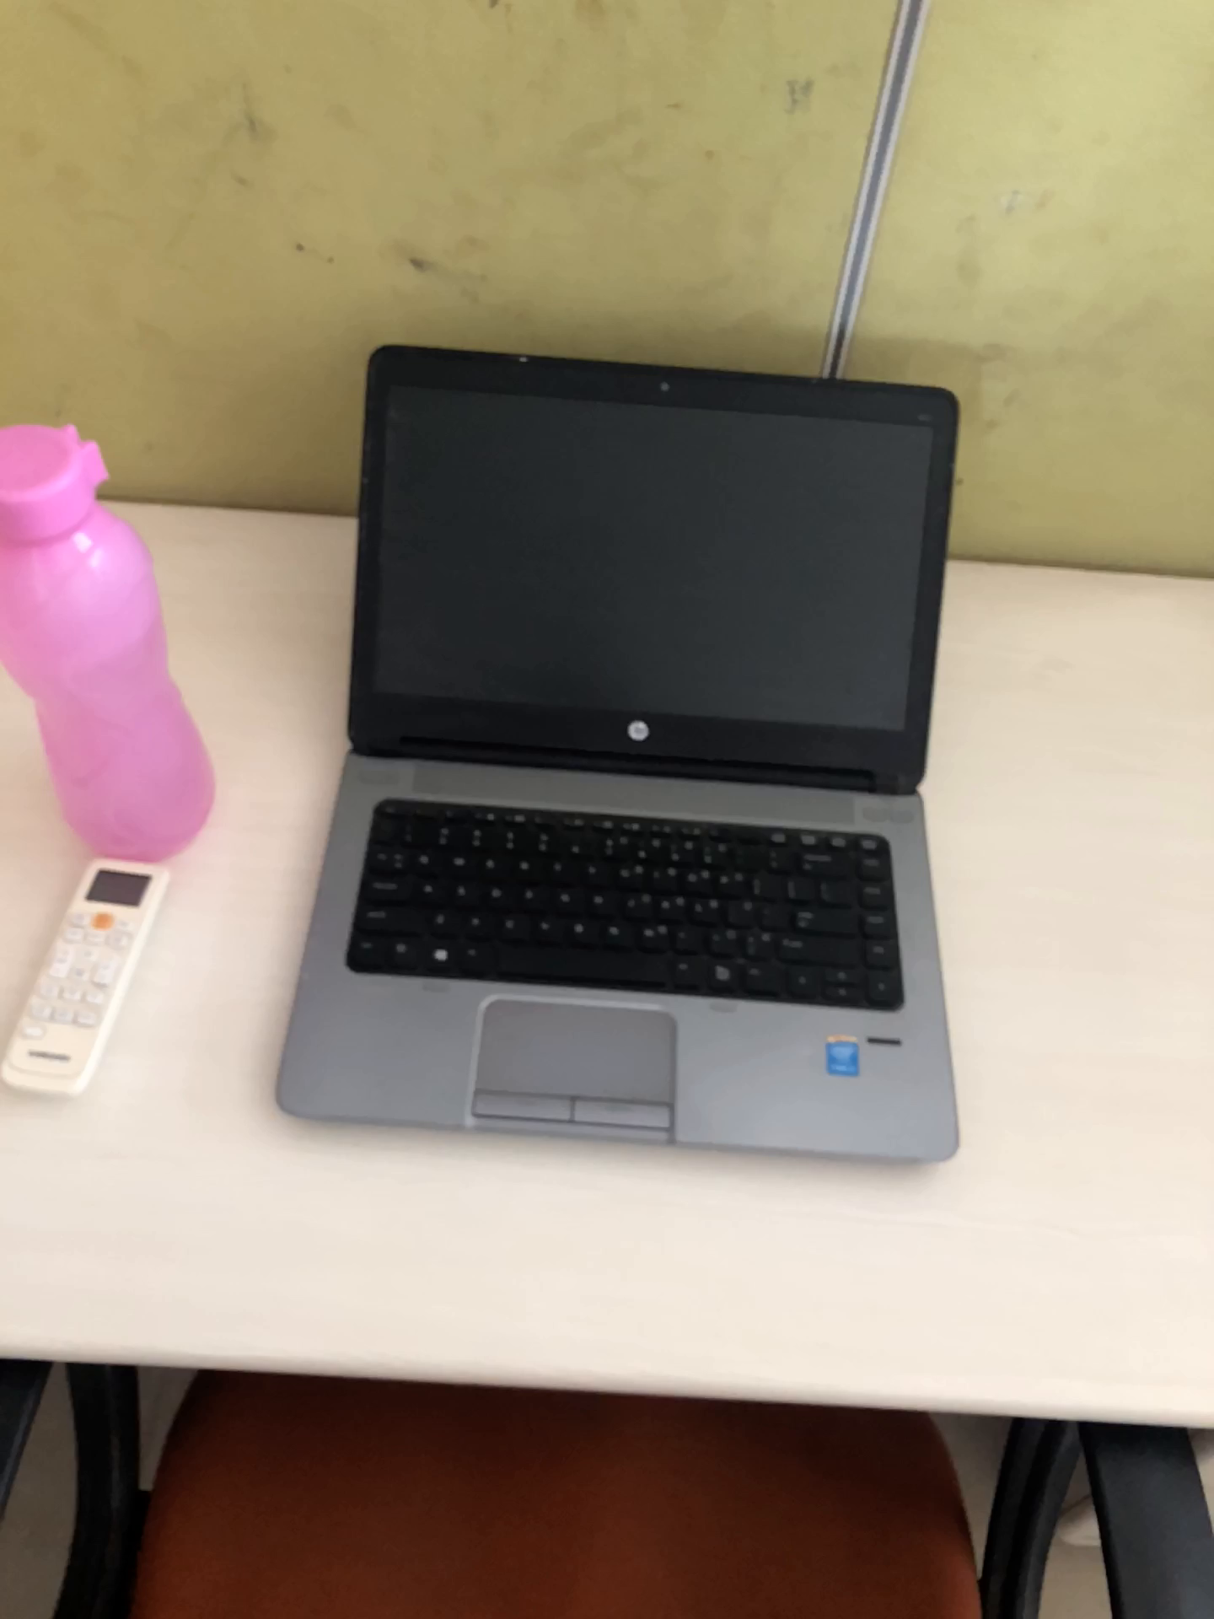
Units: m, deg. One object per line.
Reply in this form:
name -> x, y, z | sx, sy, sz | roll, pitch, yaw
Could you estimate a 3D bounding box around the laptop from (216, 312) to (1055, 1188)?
laptop -> 0.018, -0.047, 0.692 | 0.326, 0.148, 0.408 | 4, 57, 0
